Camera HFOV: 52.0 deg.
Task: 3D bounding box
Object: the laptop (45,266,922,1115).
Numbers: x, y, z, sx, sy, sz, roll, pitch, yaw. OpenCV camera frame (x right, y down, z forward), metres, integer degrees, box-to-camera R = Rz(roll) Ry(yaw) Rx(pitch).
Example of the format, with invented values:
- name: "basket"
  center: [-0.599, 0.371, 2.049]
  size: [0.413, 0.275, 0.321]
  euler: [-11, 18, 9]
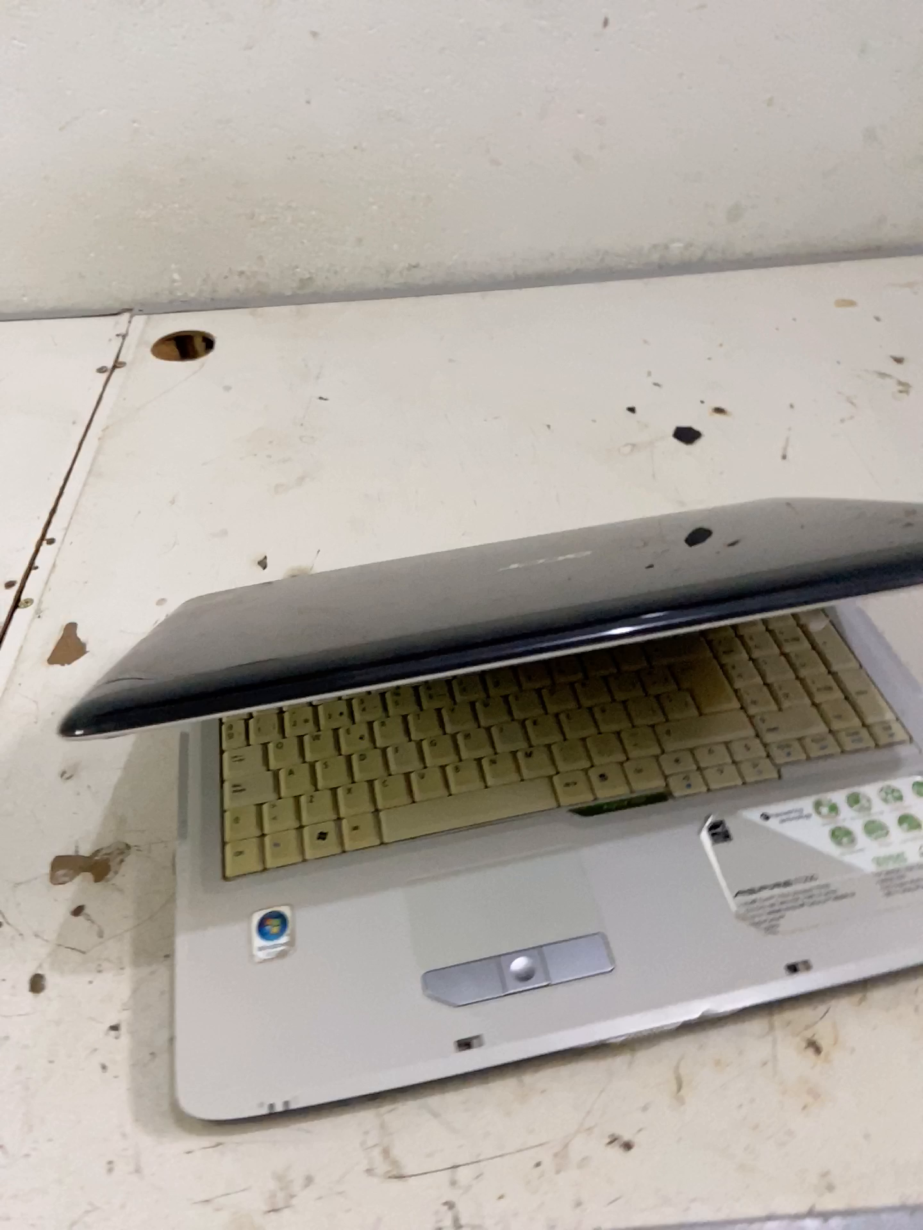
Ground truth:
- name: "laptop"
  center: [0.049, 0.007, 0.435]
  size: [0.380, 0.164, 0.279]
  euler: [-11, 44, -5]
